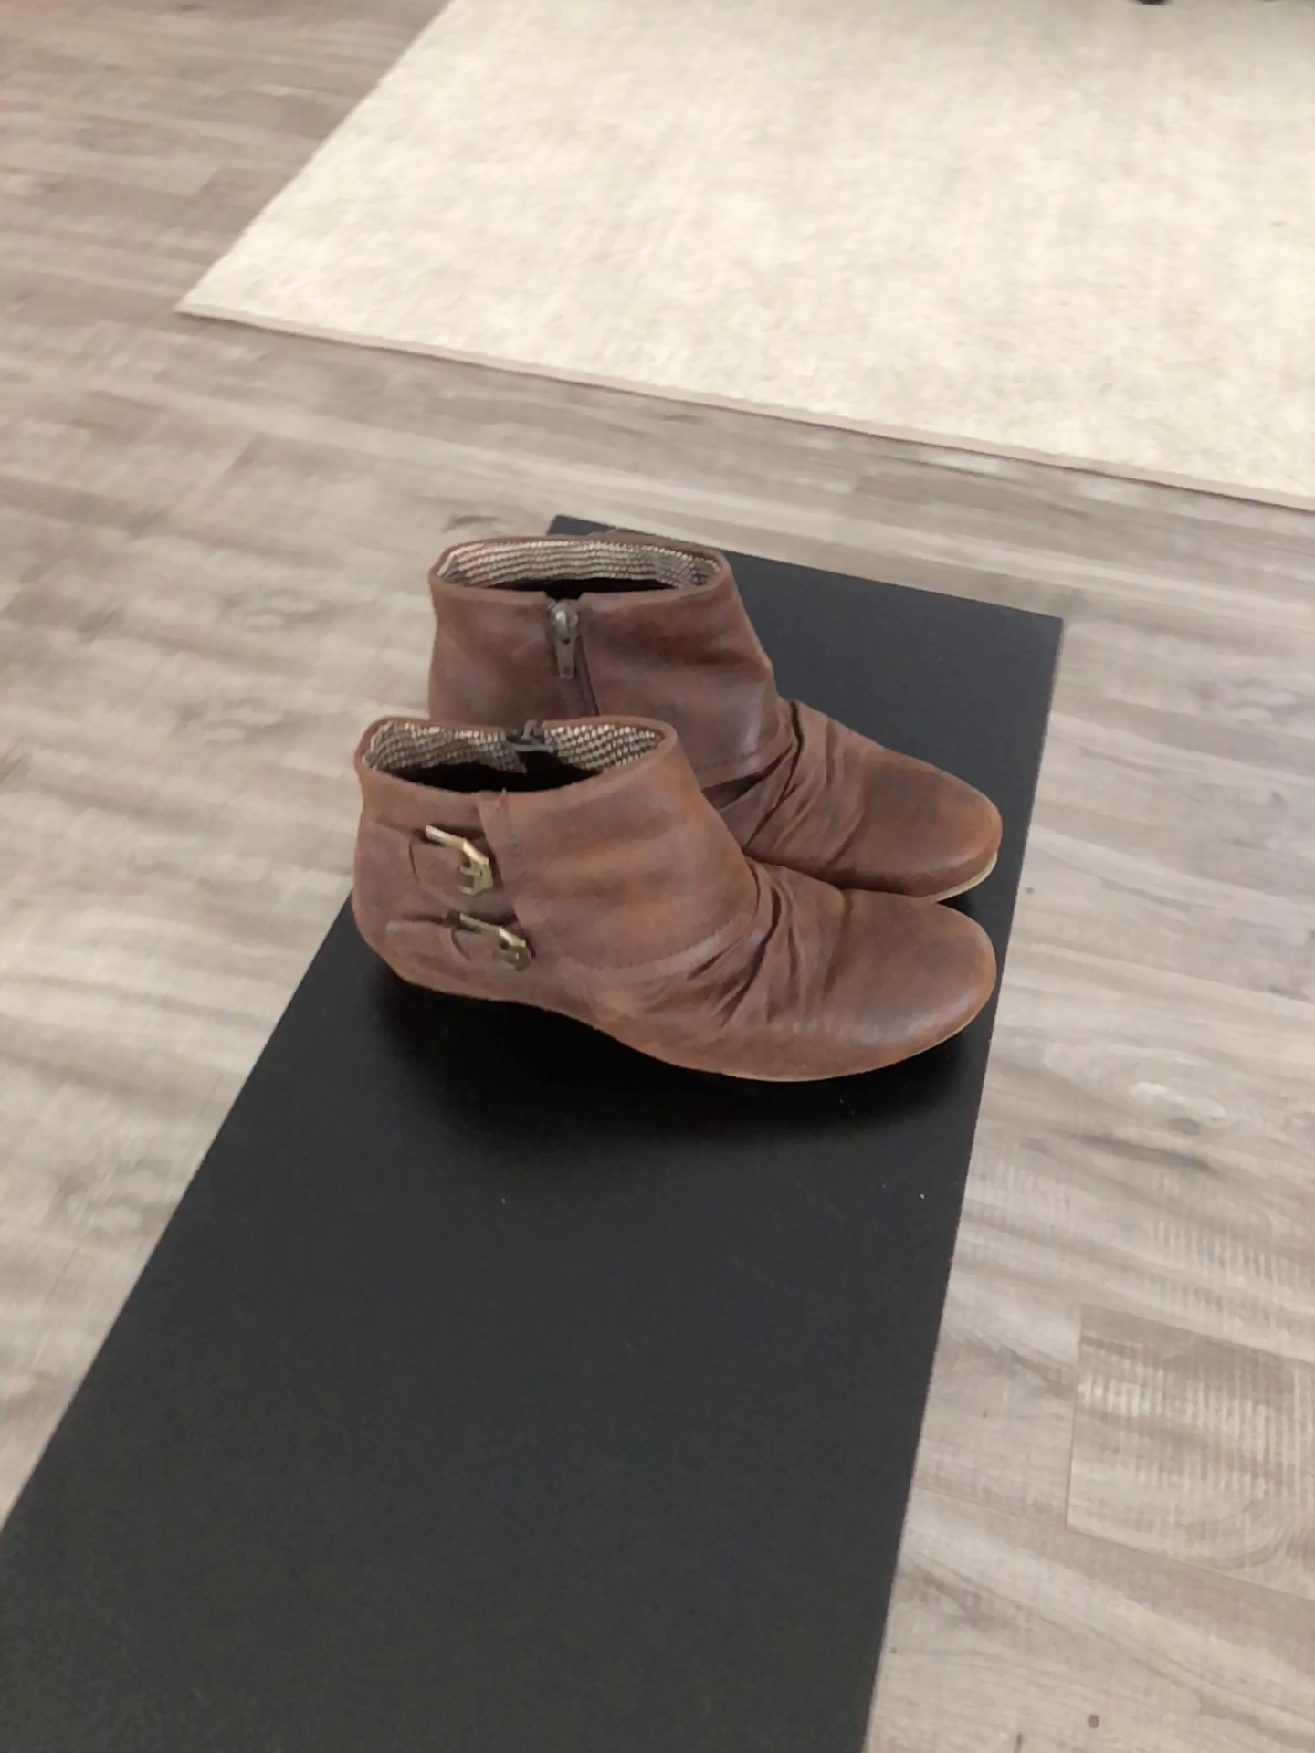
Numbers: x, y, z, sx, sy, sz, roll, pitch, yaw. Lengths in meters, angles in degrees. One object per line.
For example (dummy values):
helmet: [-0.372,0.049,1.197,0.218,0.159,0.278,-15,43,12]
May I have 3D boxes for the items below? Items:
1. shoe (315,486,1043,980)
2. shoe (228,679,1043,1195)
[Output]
shoe: [0.009,-0.055,0.550,0.240,0.110,0.090,13,52,9]
shoe: [-0.004,0.023,0.500,0.240,0.130,0.090,7,51,4]
